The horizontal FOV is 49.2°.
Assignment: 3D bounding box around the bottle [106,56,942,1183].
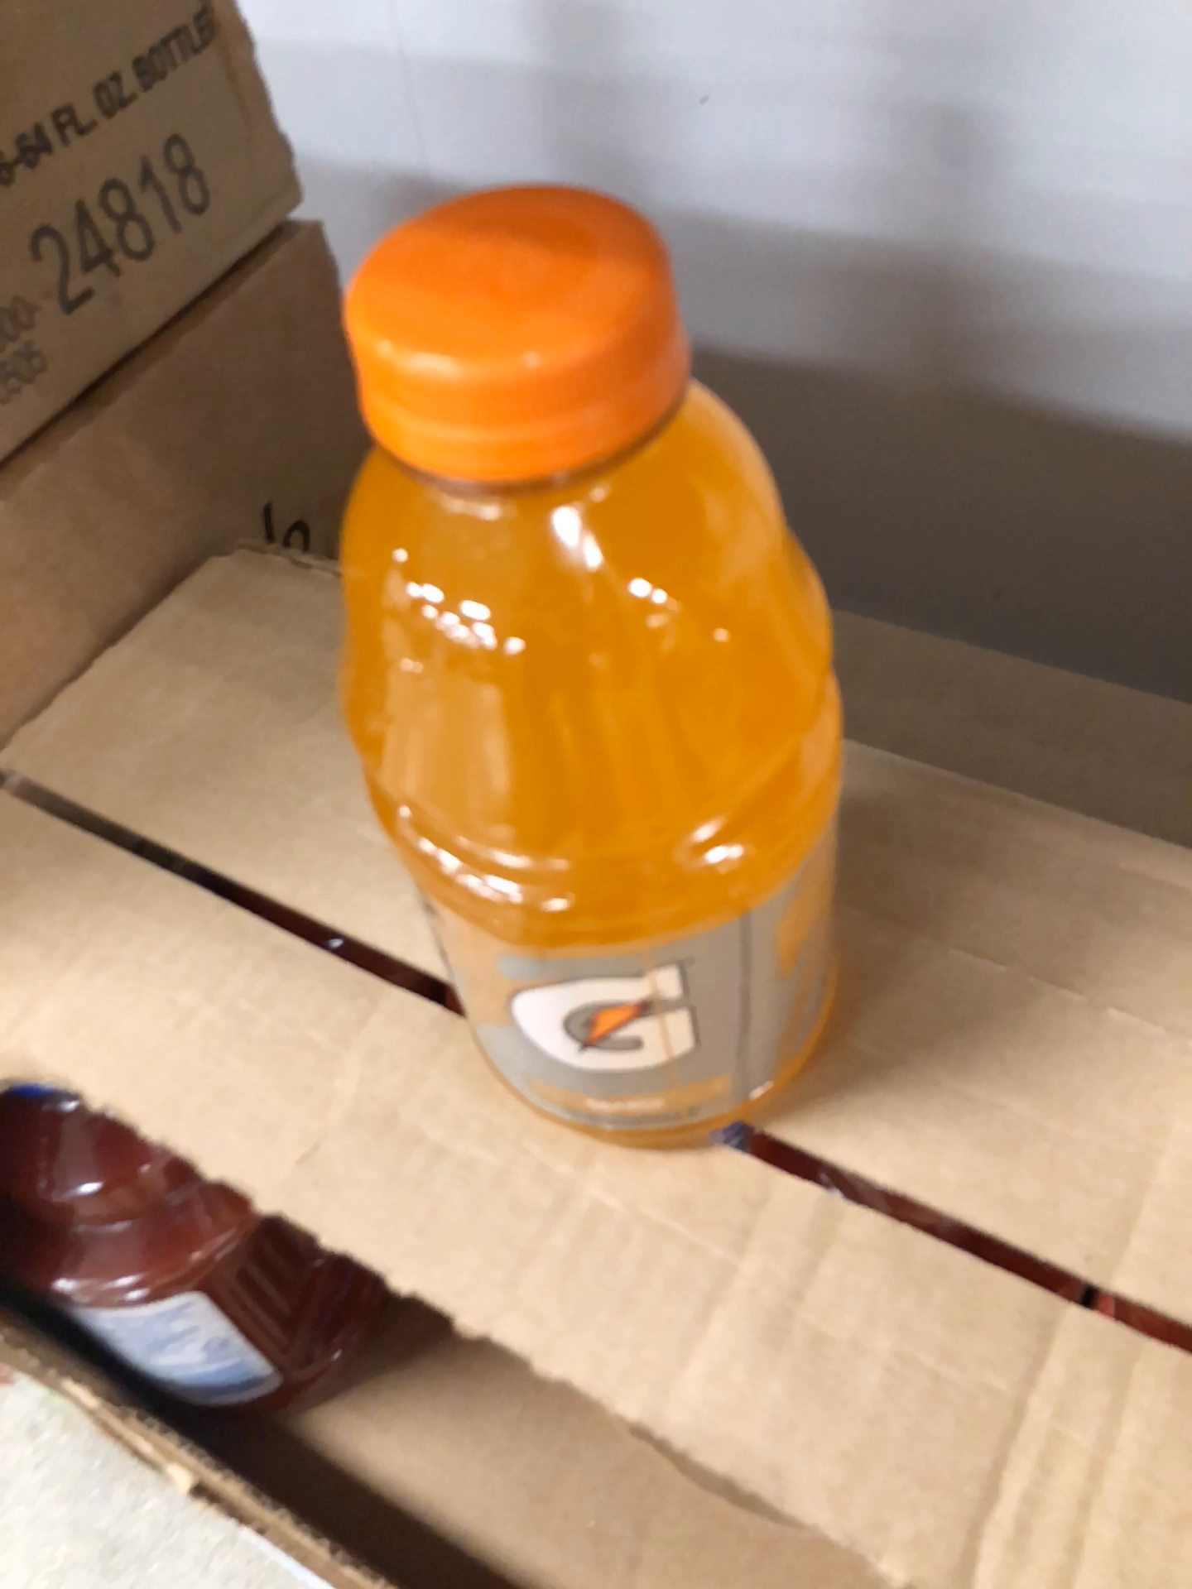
[{"bbox_3d":[0.002,-0.015,0.242,0.092,0.180,0.100,-5,50,6],"label":"bottle"}]
